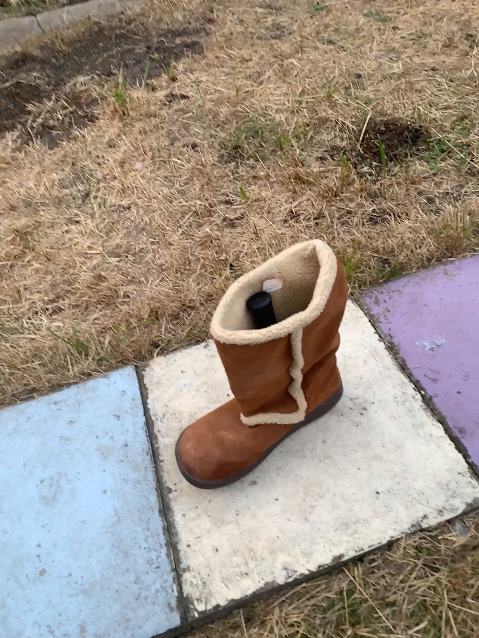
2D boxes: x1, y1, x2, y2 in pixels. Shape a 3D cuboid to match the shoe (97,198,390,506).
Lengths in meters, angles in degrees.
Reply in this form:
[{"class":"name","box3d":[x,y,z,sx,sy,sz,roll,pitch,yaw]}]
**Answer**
[{"class":"shoe","box3d":[0.020,0.055,0.576,0.260,0.297,0.111,-26,51,-13]}]
